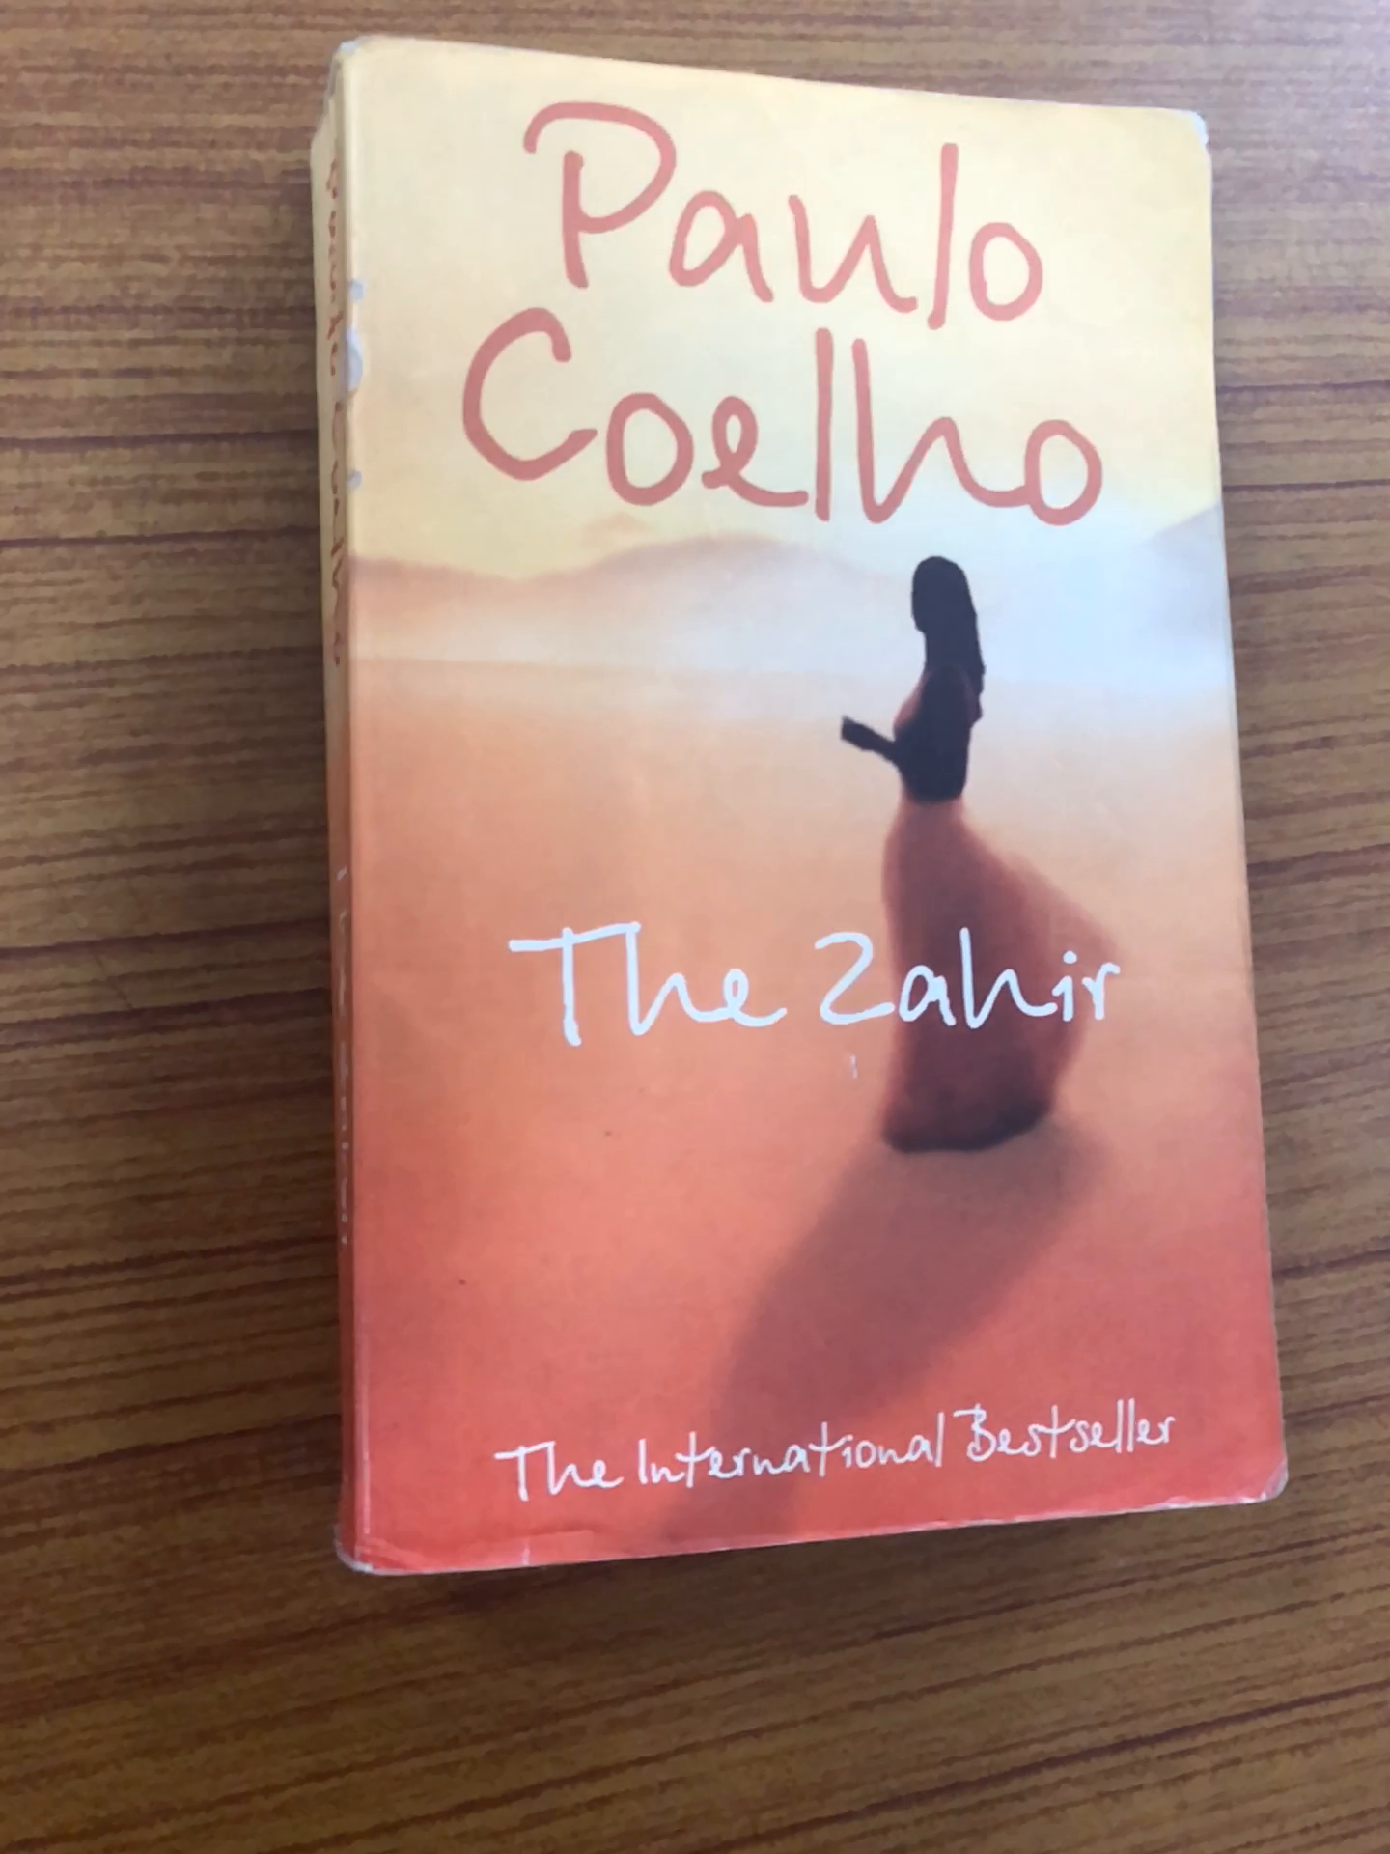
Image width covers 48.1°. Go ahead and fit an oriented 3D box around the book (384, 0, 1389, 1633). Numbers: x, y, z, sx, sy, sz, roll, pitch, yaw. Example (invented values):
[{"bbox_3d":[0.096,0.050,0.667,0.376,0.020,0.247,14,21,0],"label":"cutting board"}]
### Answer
[{"bbox_3d":[0.026,-0.017,0.193,0.120,0.040,0.180,2,83,-13],"label":"book"}]
